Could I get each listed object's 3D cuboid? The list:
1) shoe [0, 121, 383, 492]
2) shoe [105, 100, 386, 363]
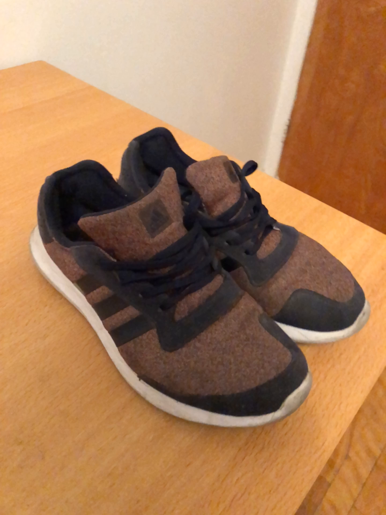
[{"bbox_3d":[-0.038,0.008,0.342,0.311,0.099,0.131,30,48,25],"label":"shoe"},{"bbox_3d":[0.054,-0.041,0.390,0.261,0.099,0.111,30,48,25],"label":"shoe"}]
